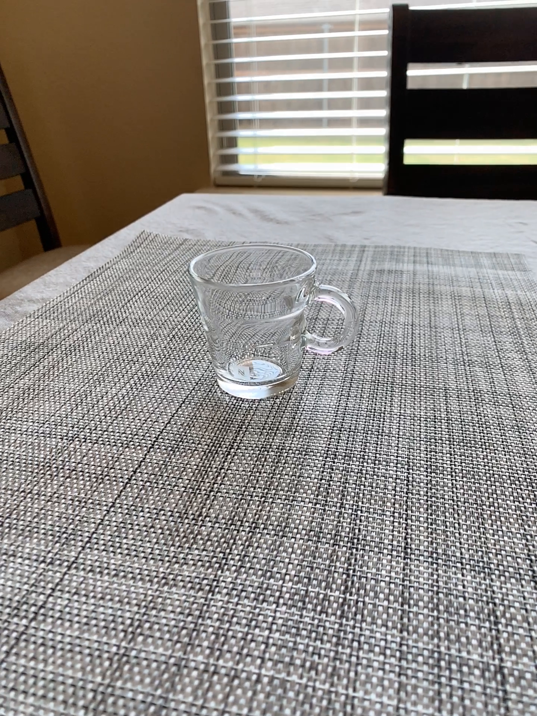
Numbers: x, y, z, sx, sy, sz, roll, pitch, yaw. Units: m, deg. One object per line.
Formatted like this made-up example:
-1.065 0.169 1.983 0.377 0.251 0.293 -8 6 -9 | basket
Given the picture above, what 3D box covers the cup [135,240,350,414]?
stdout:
-0.007 -0.018 0.261 0.083 0.060 0.058 3 28 15 | cup
